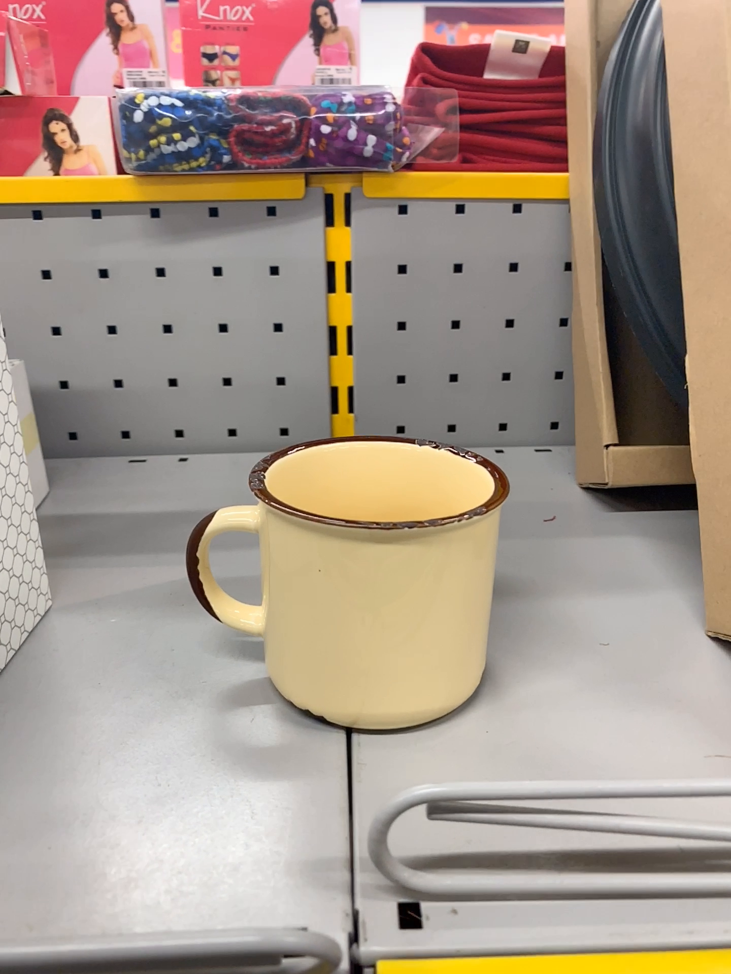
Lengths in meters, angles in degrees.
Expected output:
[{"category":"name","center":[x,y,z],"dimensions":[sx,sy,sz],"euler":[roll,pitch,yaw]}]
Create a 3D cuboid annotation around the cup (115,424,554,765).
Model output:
[{"category":"cup","center":[-0.007,0.030,0.262],"dimensions":[0.120,0.080,0.090],"euler":[1,22,3]}]
